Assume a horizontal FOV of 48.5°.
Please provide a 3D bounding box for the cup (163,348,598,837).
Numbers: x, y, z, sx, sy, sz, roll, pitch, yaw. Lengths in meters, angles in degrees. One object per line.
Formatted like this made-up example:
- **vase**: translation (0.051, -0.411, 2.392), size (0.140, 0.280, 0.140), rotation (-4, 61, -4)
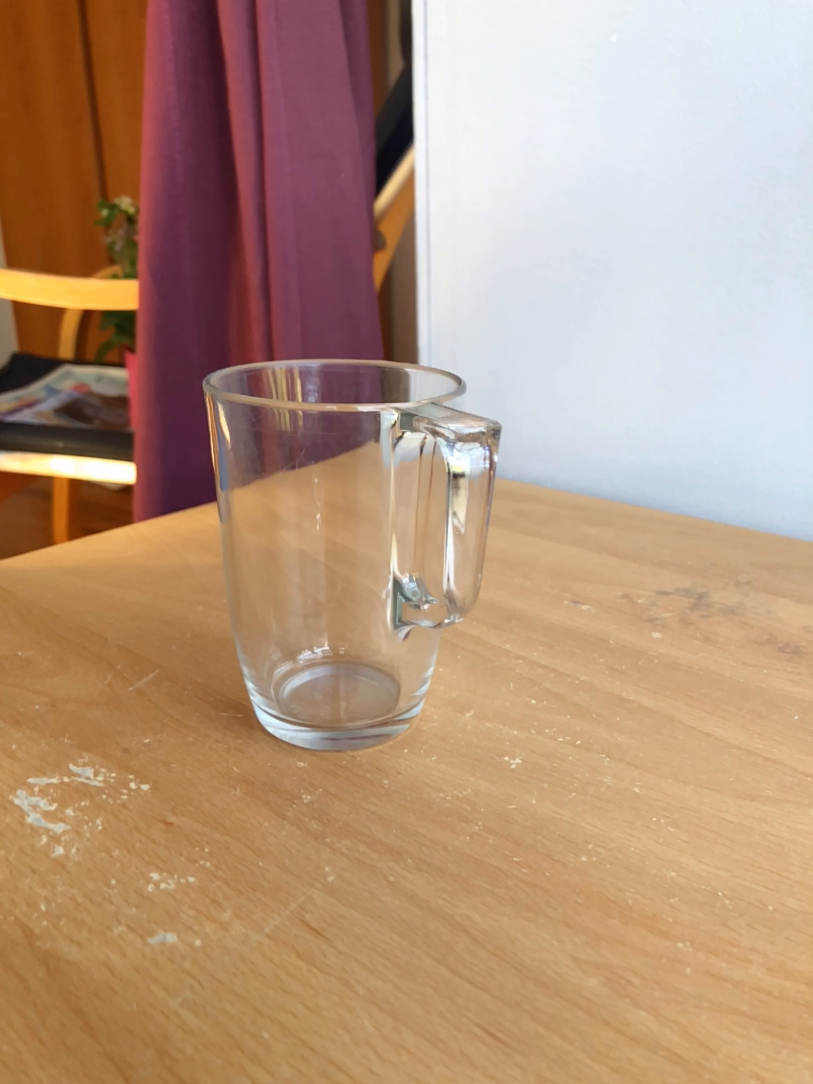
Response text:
- **cup**: translation (-0.012, 0.002, 0.264), size (0.078, 0.103, 0.103), rotation (-11, 21, -31)
